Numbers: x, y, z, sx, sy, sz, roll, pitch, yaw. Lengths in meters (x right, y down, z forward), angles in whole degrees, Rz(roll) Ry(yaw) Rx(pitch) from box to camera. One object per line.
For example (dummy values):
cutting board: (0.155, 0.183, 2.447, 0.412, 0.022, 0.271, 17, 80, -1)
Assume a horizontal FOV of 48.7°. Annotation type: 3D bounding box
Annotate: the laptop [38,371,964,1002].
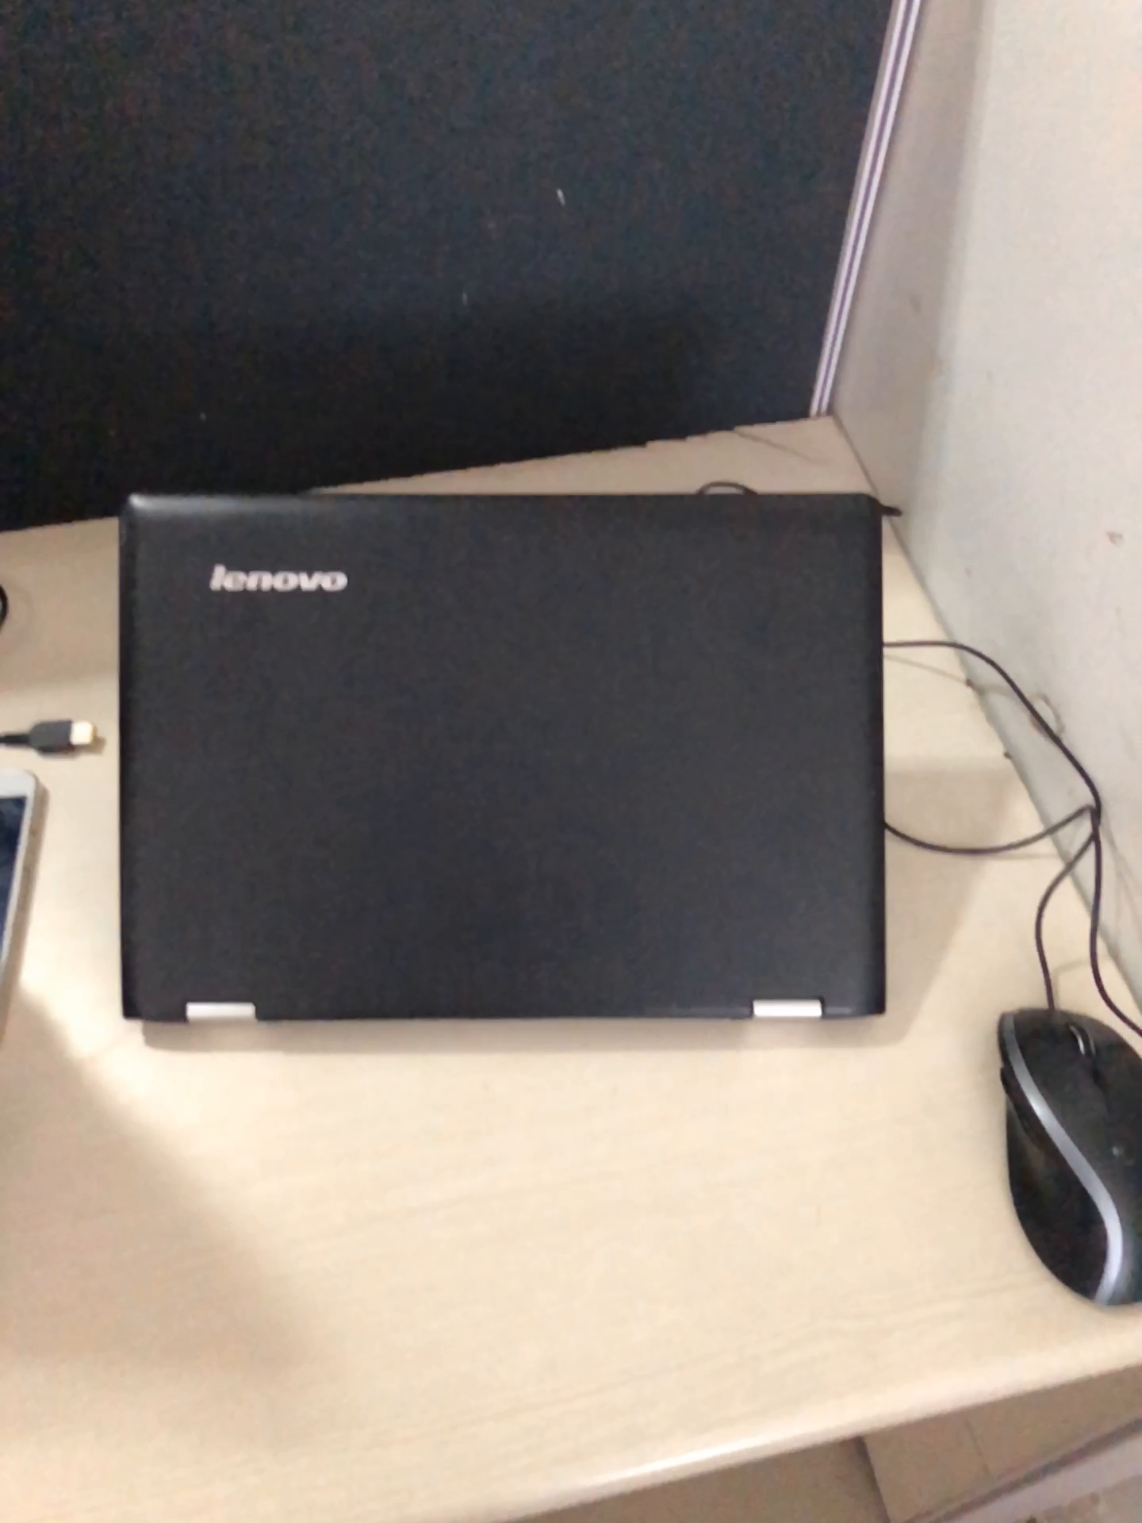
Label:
laptop: (-0.027, -0.029, 0.544, 0.323, 0.142, 0.205, 0, 61, -1)
